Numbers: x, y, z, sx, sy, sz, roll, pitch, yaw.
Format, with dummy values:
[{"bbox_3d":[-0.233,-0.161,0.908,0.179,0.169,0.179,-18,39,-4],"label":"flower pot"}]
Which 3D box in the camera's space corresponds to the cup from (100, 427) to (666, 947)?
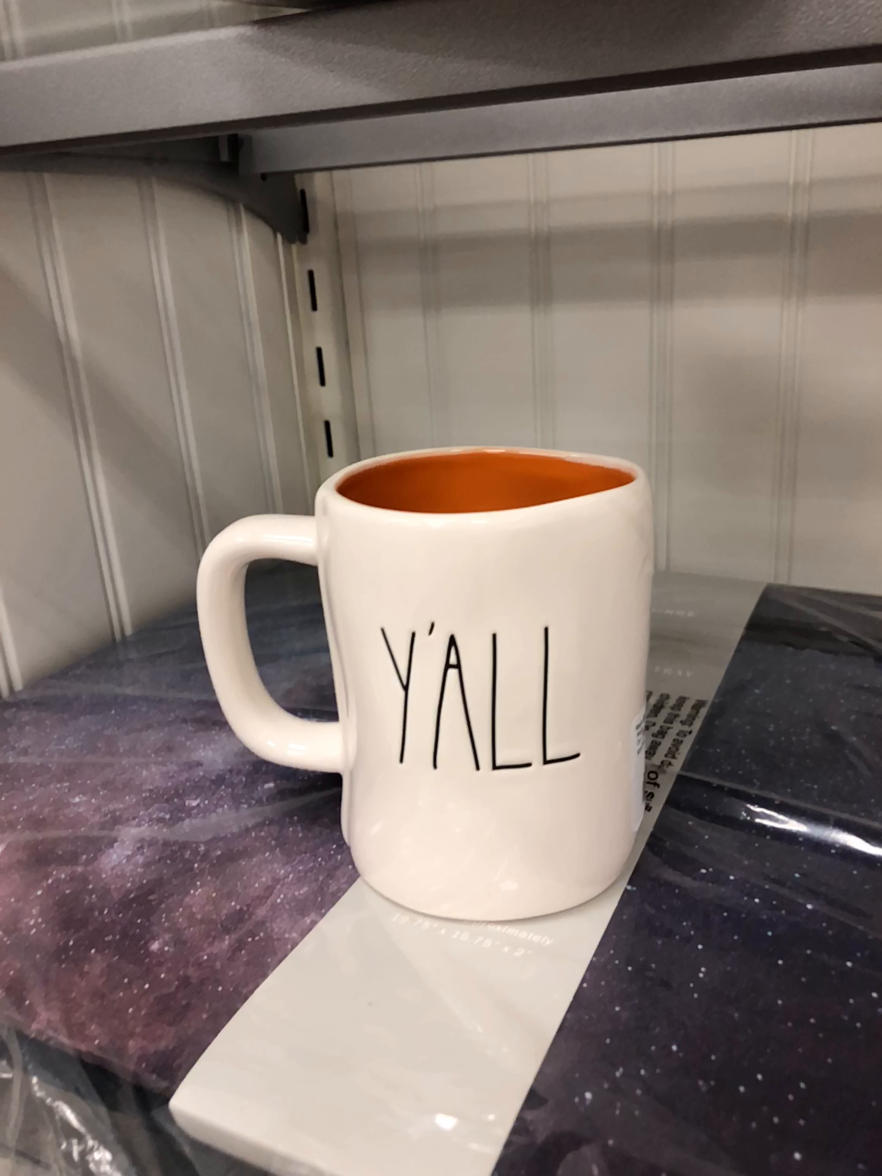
[{"bbox_3d":[-0.006,0.020,0.299,0.140,0.119,0.091,2,21,16],"label":"cup"}]
